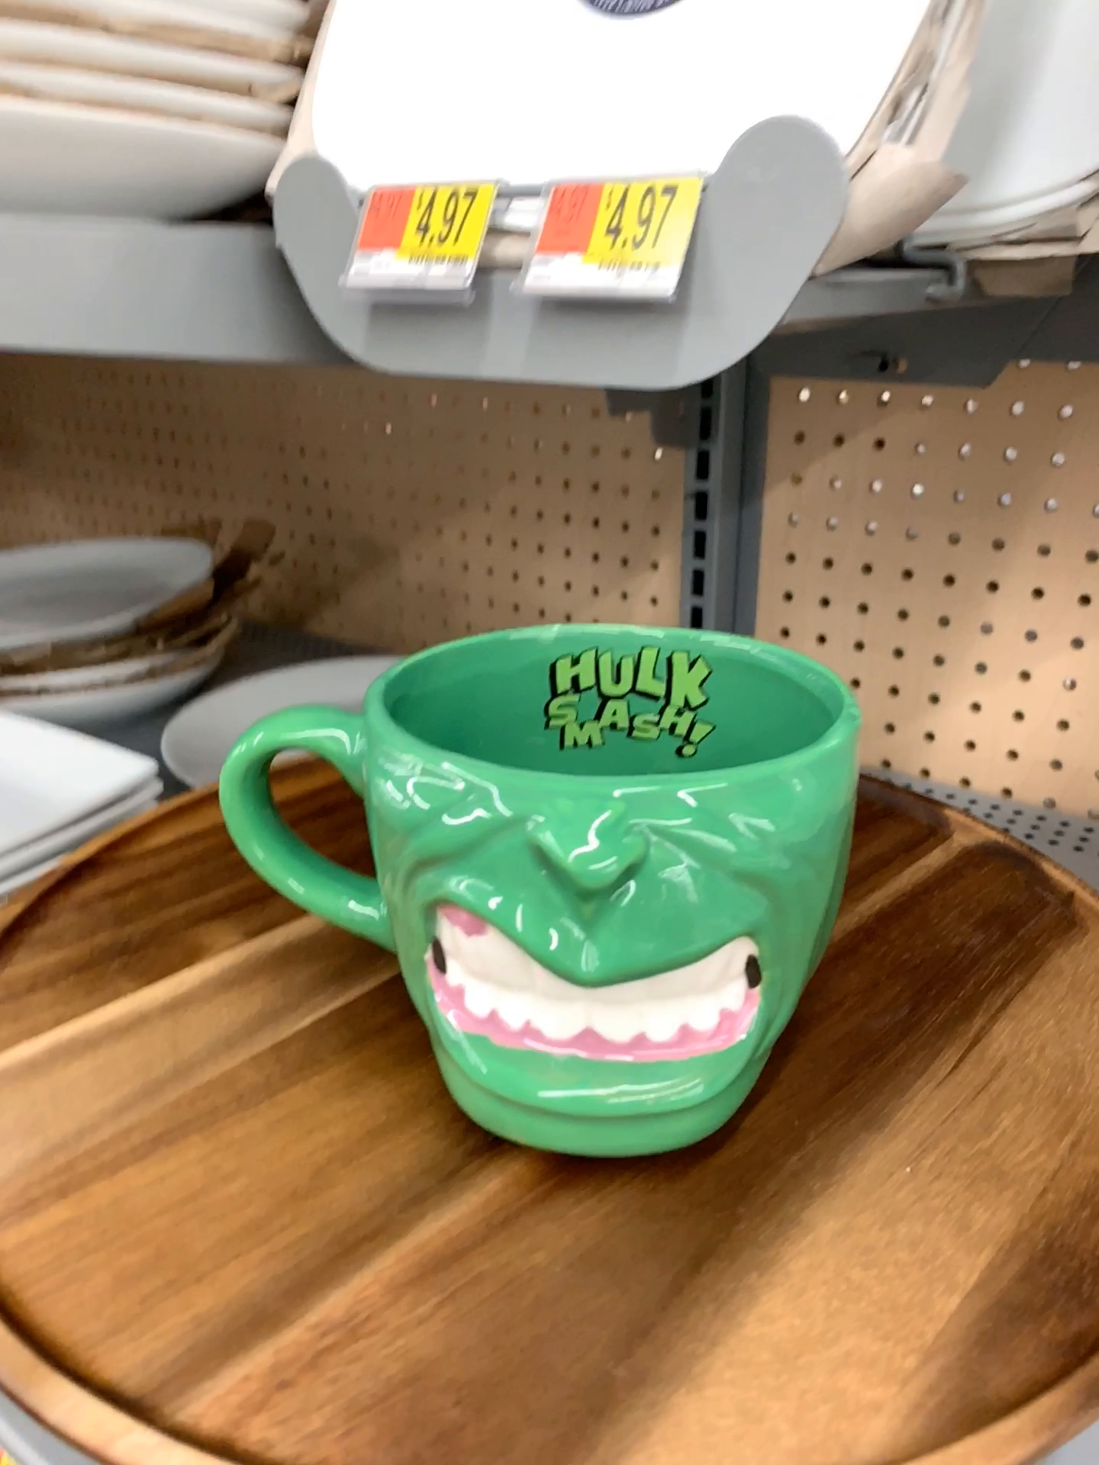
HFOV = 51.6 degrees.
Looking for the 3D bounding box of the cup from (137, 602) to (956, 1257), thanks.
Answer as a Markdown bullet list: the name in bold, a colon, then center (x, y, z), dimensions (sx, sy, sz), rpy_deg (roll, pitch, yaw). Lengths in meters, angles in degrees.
- **cup**: center (0.004, 0.032, 0.269), dimensions (0.140, 0.090, 0.131), rpy_deg (0, 22, 0)
